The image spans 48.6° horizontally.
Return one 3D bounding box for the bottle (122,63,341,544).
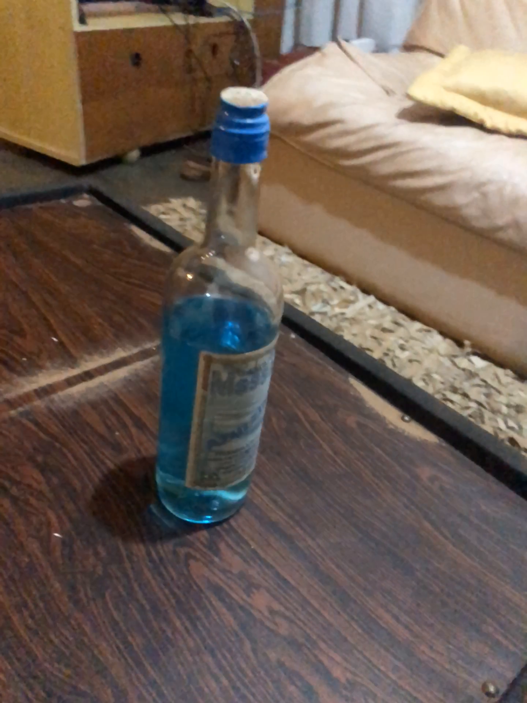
[{"bbox_3d":[-0.031,-0.016,0.383,0.080,0.298,0.081,5,34,-4],"label":"bottle"}]
